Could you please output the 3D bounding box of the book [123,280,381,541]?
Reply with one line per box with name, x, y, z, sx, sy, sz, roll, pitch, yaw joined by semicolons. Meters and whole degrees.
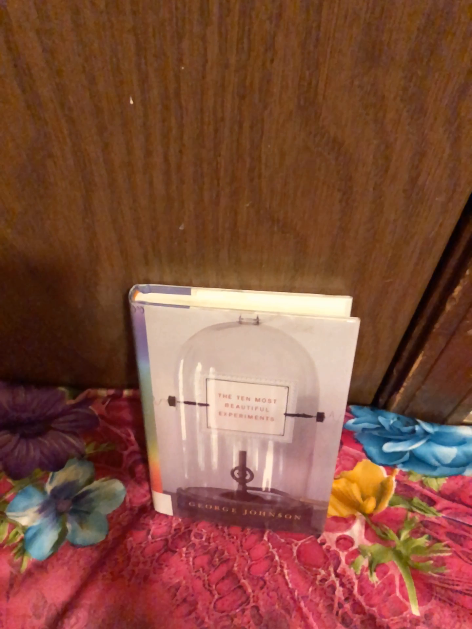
book;0.007;0.072;0.350;0.140;0.190;0.033;4;33;4
